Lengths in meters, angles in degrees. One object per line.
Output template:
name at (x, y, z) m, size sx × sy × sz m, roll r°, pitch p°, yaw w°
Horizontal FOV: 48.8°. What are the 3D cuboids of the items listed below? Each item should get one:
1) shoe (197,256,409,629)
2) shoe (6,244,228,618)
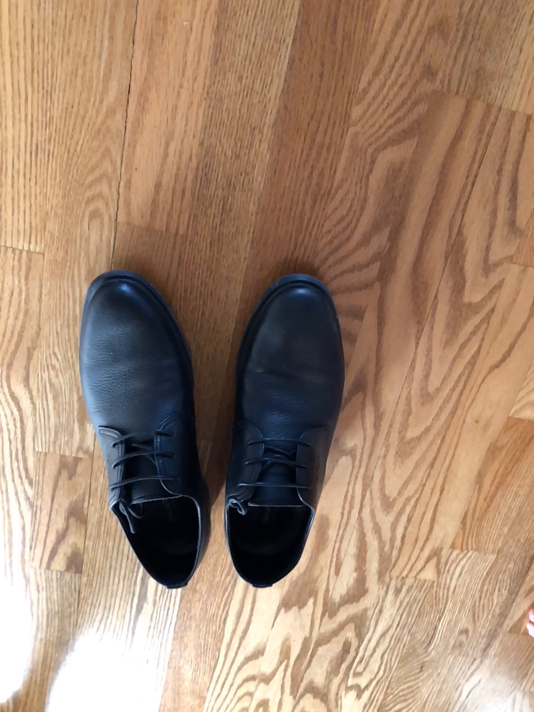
shoe at (0.016, 0.080, 0.526) m, size 0.110 × 0.124 × 0.300 m, roll 9°, pitch 114°, yaw -6°
shoe at (-0.112, 0.070, 0.530) m, size 0.110 × 0.124 × 0.304 m, roll -7°, pitch 115°, yaw 1°
